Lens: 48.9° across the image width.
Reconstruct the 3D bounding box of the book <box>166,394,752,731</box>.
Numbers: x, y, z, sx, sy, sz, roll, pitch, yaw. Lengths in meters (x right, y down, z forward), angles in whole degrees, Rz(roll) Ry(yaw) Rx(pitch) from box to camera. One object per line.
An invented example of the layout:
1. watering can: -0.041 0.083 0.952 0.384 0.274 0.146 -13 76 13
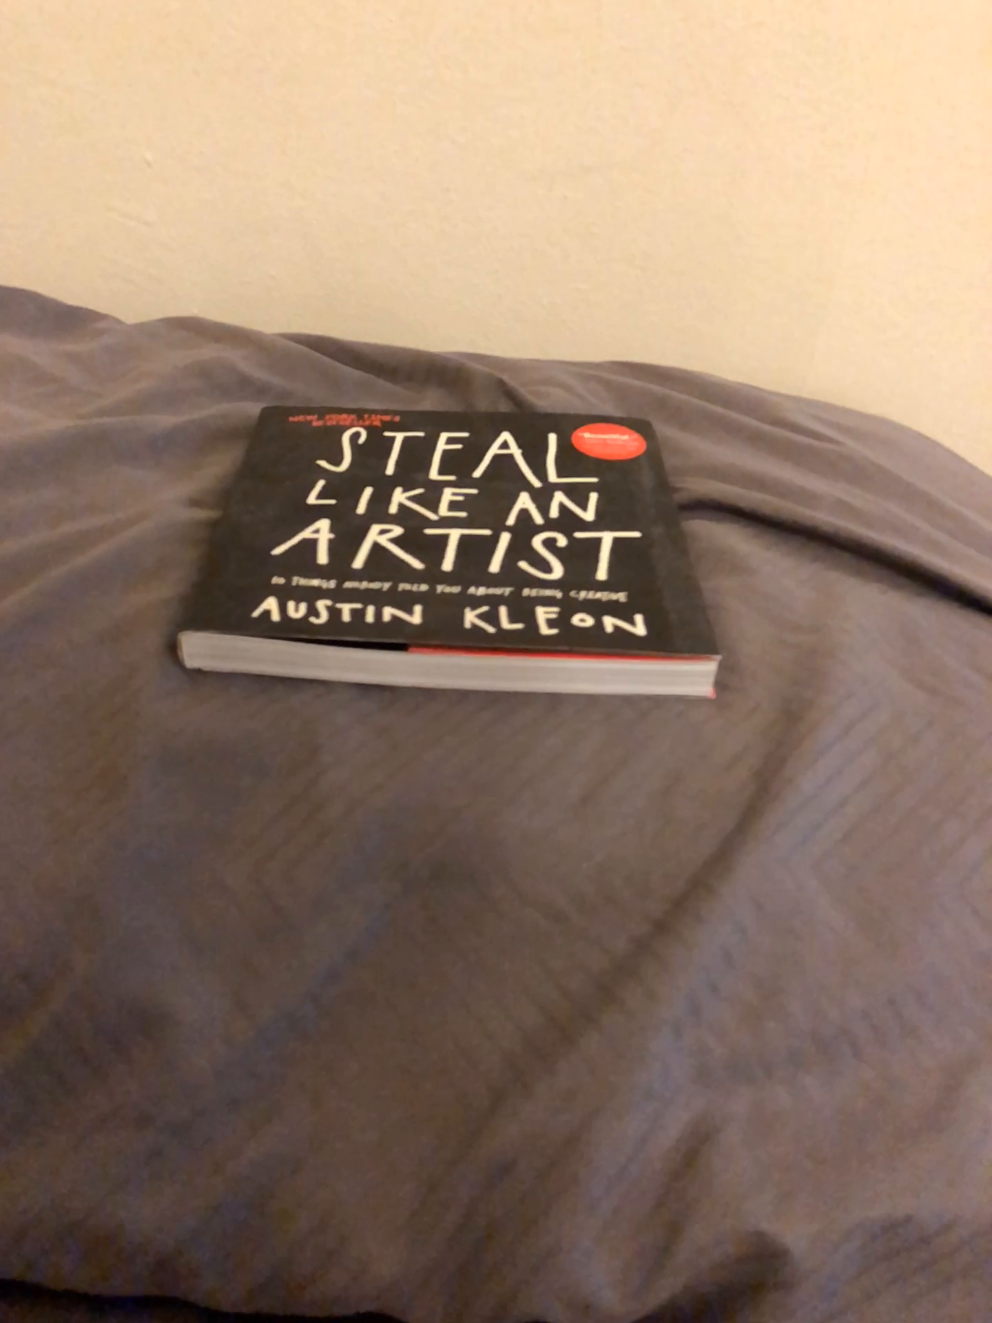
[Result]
1. book: -0.011 -0.041 0.367 0.160 0.020 0.161 3 37 -4
